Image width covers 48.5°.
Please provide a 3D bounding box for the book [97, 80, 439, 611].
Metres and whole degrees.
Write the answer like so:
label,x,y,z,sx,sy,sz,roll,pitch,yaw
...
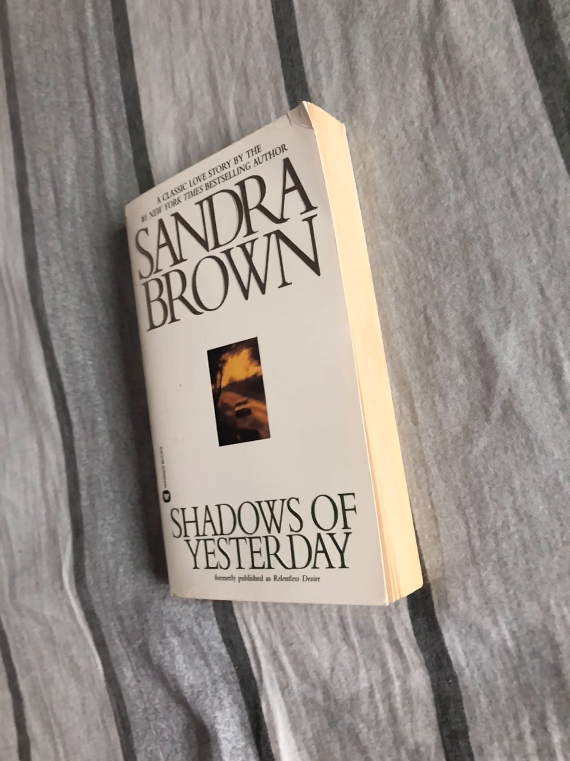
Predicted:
label,x,y,z,sx,sy,sz,roll,pitch,yaw
book,-0.014,-0.006,0.255,0.120,0.030,0.180,-11,83,32
